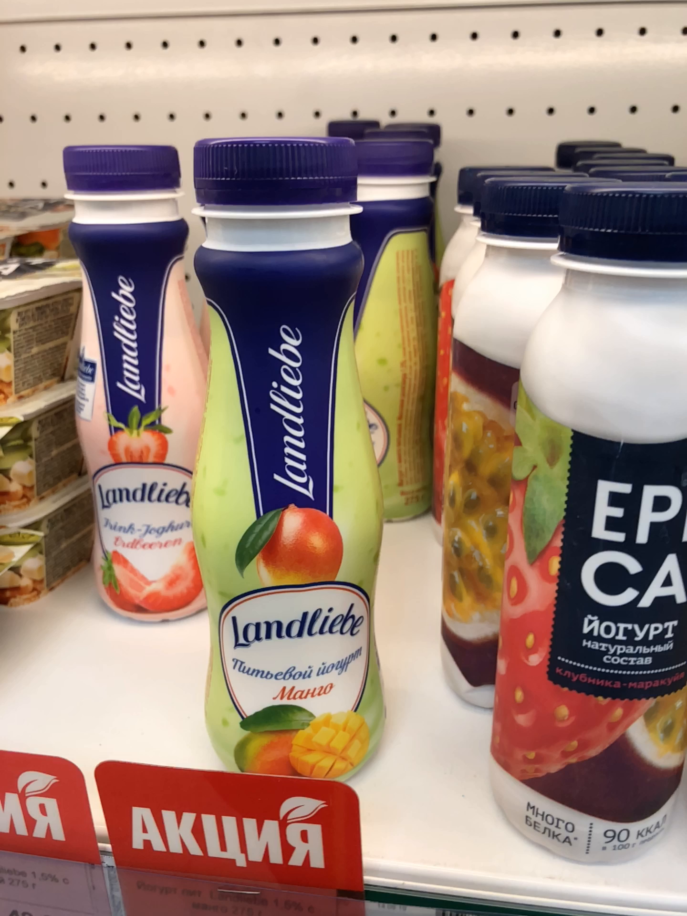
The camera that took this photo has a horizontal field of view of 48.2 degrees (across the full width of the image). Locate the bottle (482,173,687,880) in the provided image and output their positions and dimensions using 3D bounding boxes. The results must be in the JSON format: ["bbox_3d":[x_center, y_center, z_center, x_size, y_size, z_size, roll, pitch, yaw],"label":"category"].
[{"bbox_3d":[0.066,0.021,0.195,0.051,0.173,0.048,-1,22,0],"label":"bottle"}]

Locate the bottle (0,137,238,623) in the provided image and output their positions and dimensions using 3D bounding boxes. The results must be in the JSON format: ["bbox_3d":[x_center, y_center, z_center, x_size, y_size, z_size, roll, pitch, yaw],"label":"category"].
[{"bbox_3d":[-0.080,-0.027,0.298,0.056,0.178,0.054,-1,22,0],"label":"bottle"}]

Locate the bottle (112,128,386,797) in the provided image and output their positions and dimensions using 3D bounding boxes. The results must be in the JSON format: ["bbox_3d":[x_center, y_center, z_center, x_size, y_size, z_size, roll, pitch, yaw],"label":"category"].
[{"bbox_3d":[-0.017,0.005,0.213,0.055,0.177,0.054,-1,22,0],"label":"bottle"}]
